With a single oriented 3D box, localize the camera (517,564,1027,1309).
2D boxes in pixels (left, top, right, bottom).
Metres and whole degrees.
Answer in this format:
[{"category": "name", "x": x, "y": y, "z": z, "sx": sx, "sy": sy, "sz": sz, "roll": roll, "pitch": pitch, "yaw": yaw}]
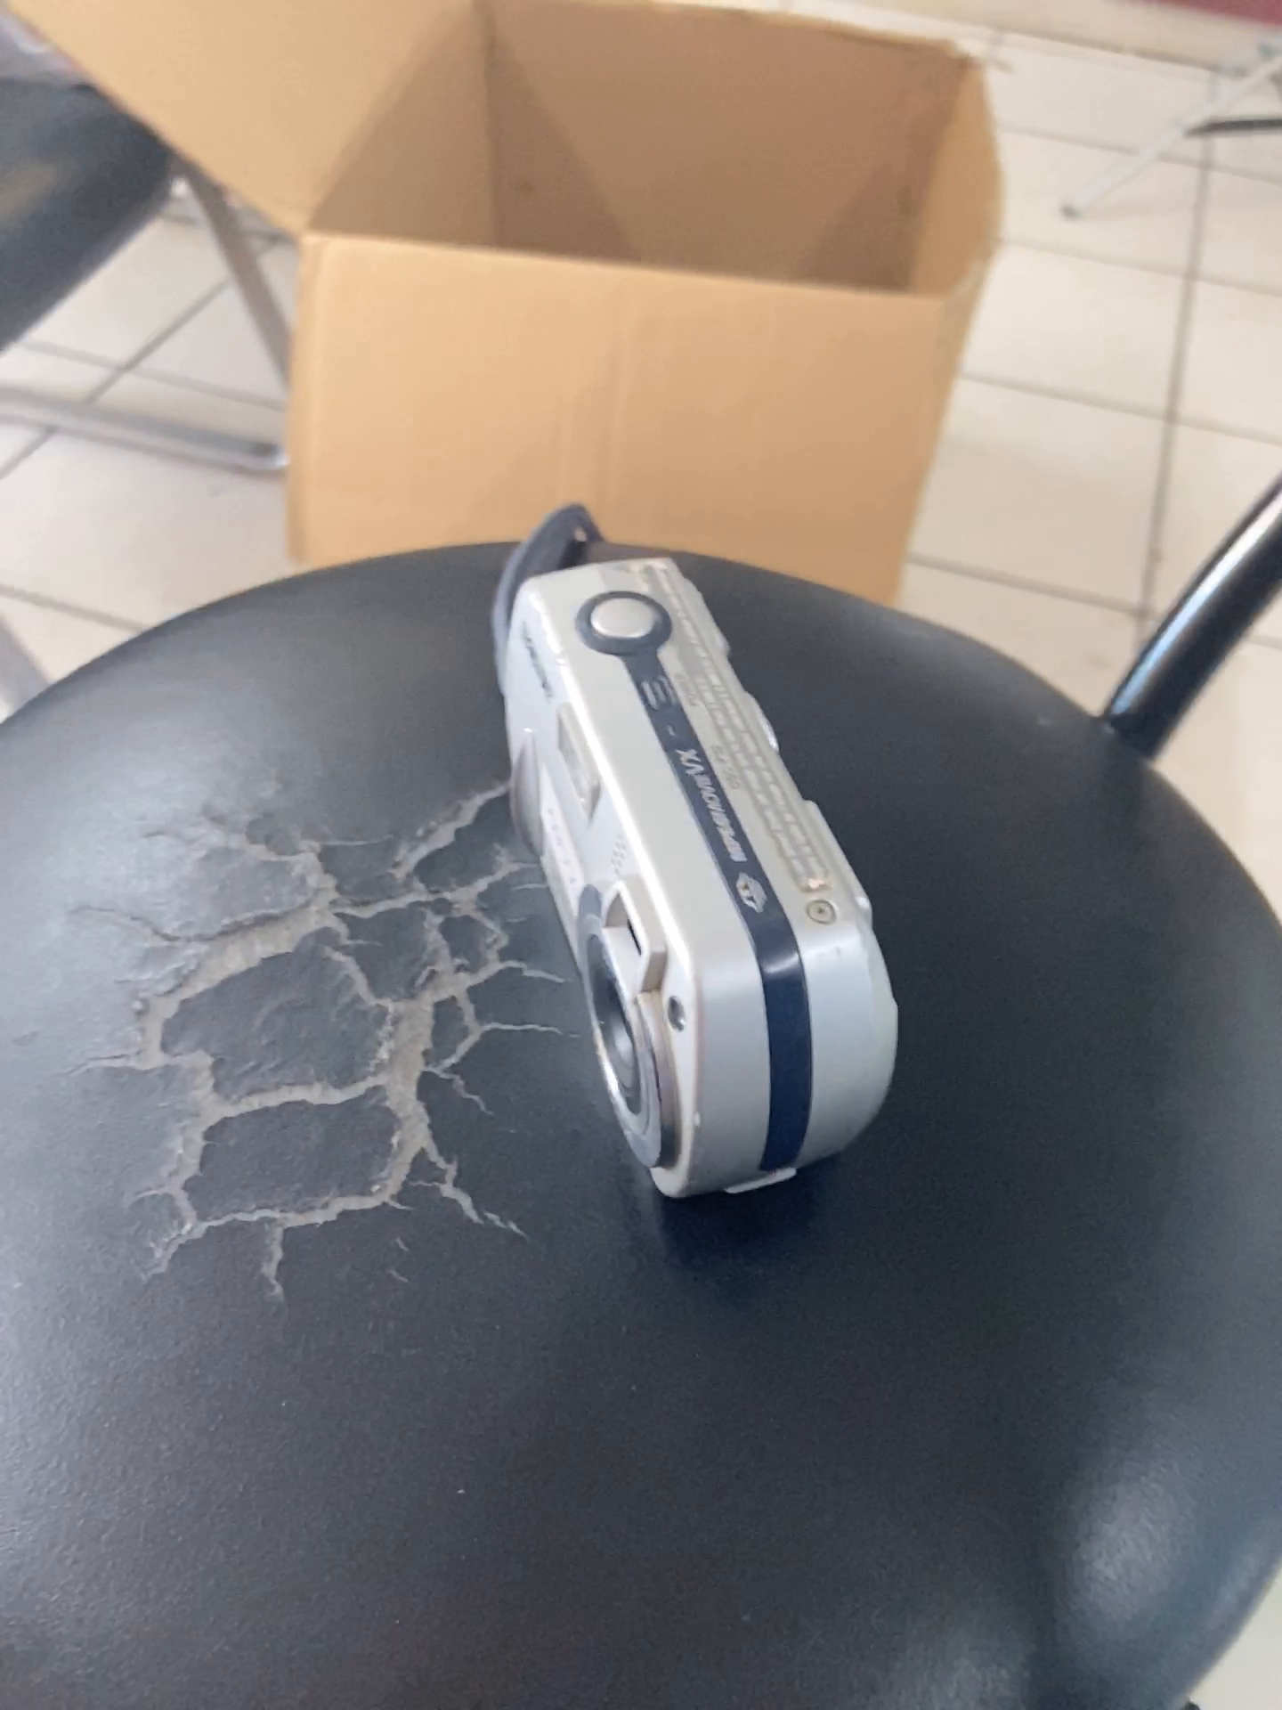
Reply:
[{"category": "camera", "x": 0.012, "y": 0.008, "z": 0.208, "sx": 0.040, "sy": 0.050, "sz": 0.100, "roll": -11, "pitch": 51, "yaw": -13}]
